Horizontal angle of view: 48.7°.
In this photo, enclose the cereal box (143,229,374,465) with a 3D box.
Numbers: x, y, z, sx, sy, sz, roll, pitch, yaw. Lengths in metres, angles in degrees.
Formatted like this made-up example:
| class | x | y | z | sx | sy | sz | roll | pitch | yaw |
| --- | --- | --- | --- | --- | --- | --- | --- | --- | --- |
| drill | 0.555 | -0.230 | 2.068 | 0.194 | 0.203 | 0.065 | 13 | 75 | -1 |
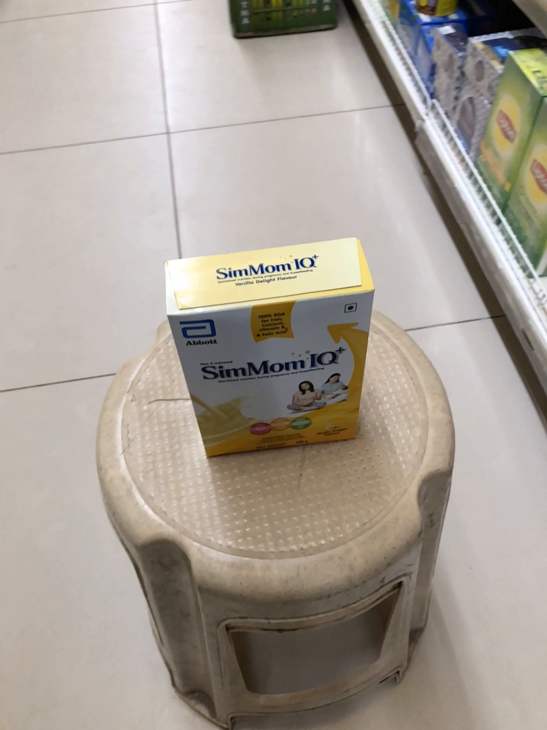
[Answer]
| class | x | y | z | sx | sy | sz | roll | pitch | yaw |
| --- | --- | --- | --- | --- | --- | --- | --- | --- | --- |
| cereal box | -0.005 | -0.001 | 0.458 | 0.140 | 0.199 | 0.050 | -8 | 54 | -1 |
